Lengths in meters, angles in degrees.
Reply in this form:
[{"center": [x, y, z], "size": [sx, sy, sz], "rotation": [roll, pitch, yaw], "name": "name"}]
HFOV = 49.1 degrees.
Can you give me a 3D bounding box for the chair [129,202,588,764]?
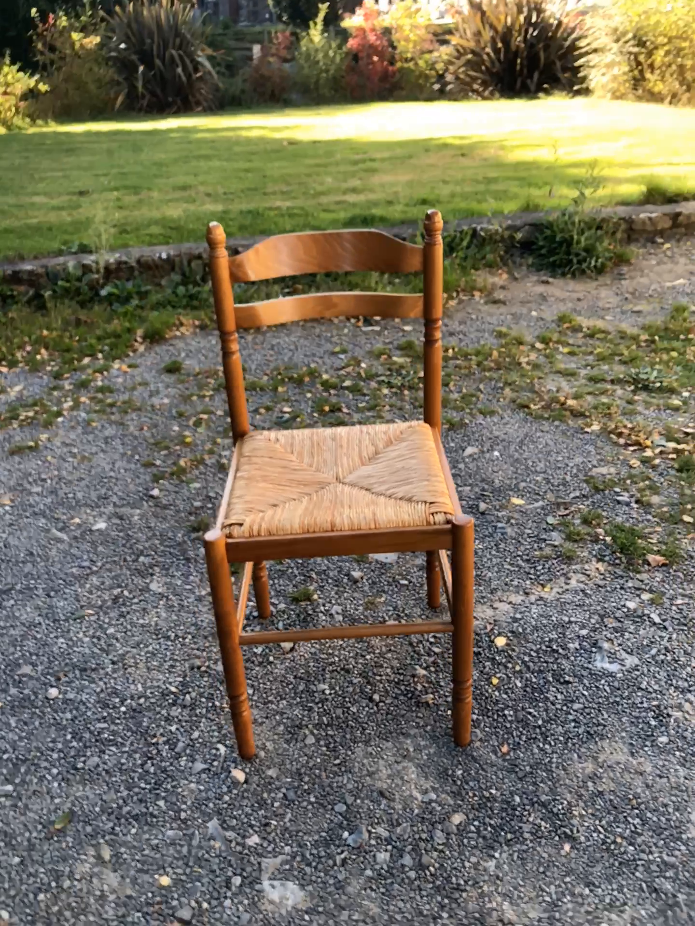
[{"center": [0.013, 0.013, 1.251], "size": [0.510, 0.736, 0.523], "rotation": [-2, 29, -1], "name": "chair"}]
